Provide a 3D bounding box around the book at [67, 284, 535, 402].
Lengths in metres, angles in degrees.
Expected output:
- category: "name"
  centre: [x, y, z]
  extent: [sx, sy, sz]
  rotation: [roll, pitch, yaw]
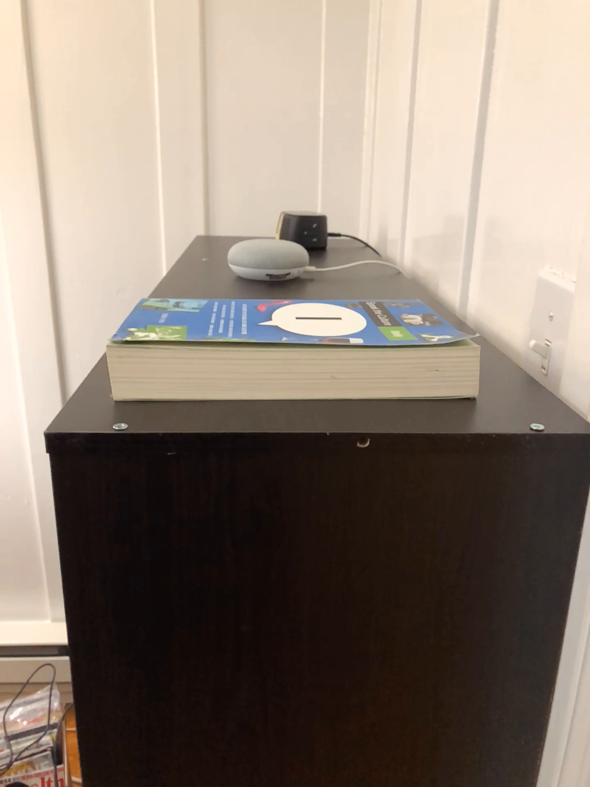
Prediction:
- category: "book"
  centre: [-0.001, -0.044, 0.460]
  extent: [0.260, 0.030, 0.201]
  rotation: [0, 19, -5]
